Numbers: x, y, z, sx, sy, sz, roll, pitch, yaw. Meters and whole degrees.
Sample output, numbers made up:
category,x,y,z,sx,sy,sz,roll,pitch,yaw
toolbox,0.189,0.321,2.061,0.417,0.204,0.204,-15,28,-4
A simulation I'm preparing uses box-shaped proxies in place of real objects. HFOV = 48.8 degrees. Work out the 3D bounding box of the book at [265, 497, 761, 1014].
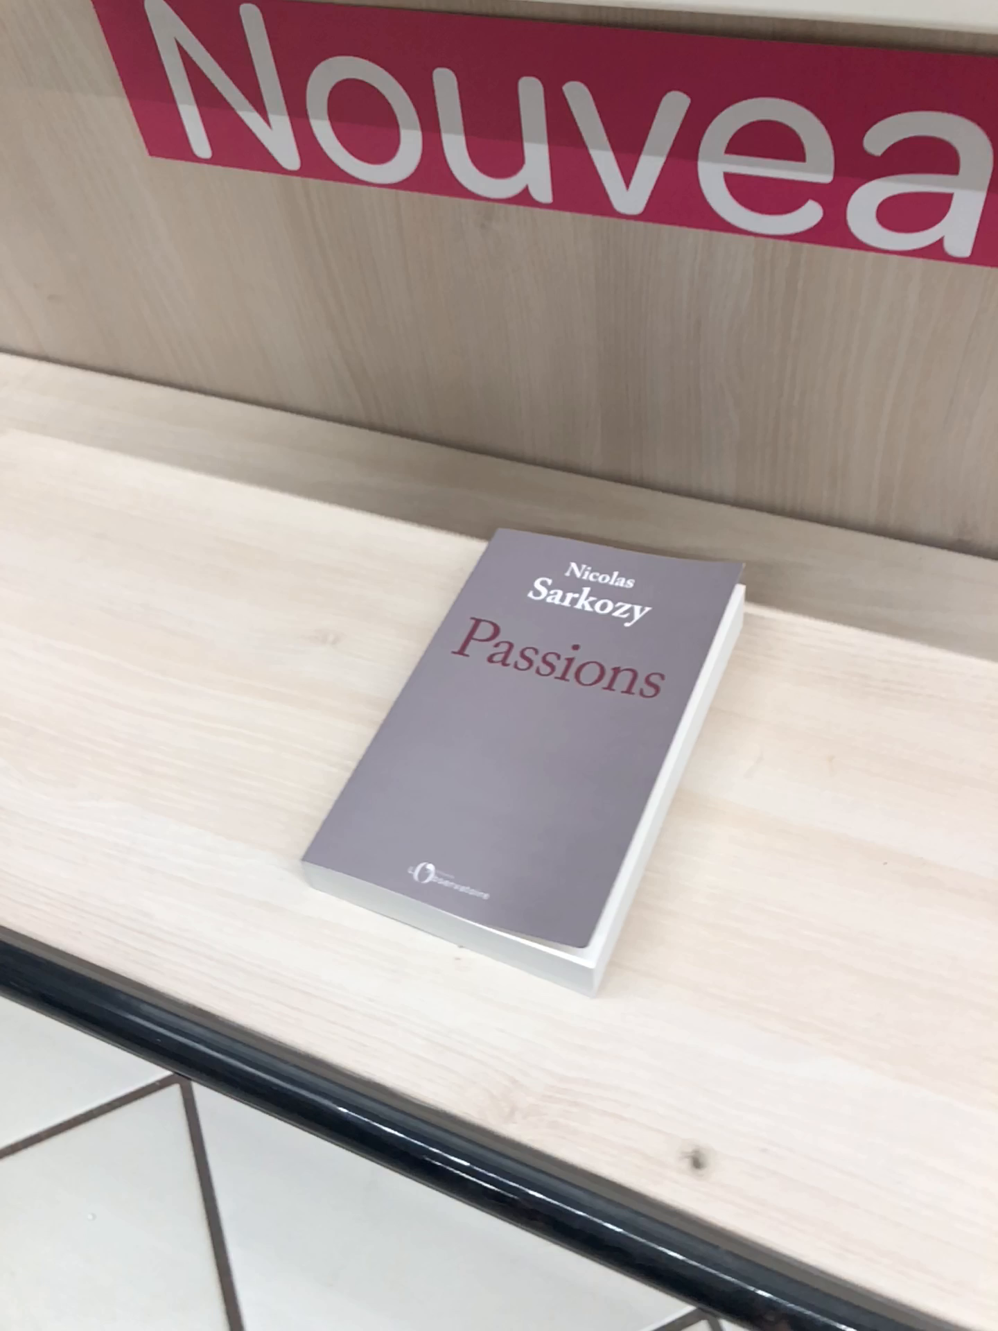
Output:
category,x,y,z,sx,sy,sz,roll,pitch,yaw
book,0.016,0.028,0.527,0.156,0.044,0.225,15,57,18
